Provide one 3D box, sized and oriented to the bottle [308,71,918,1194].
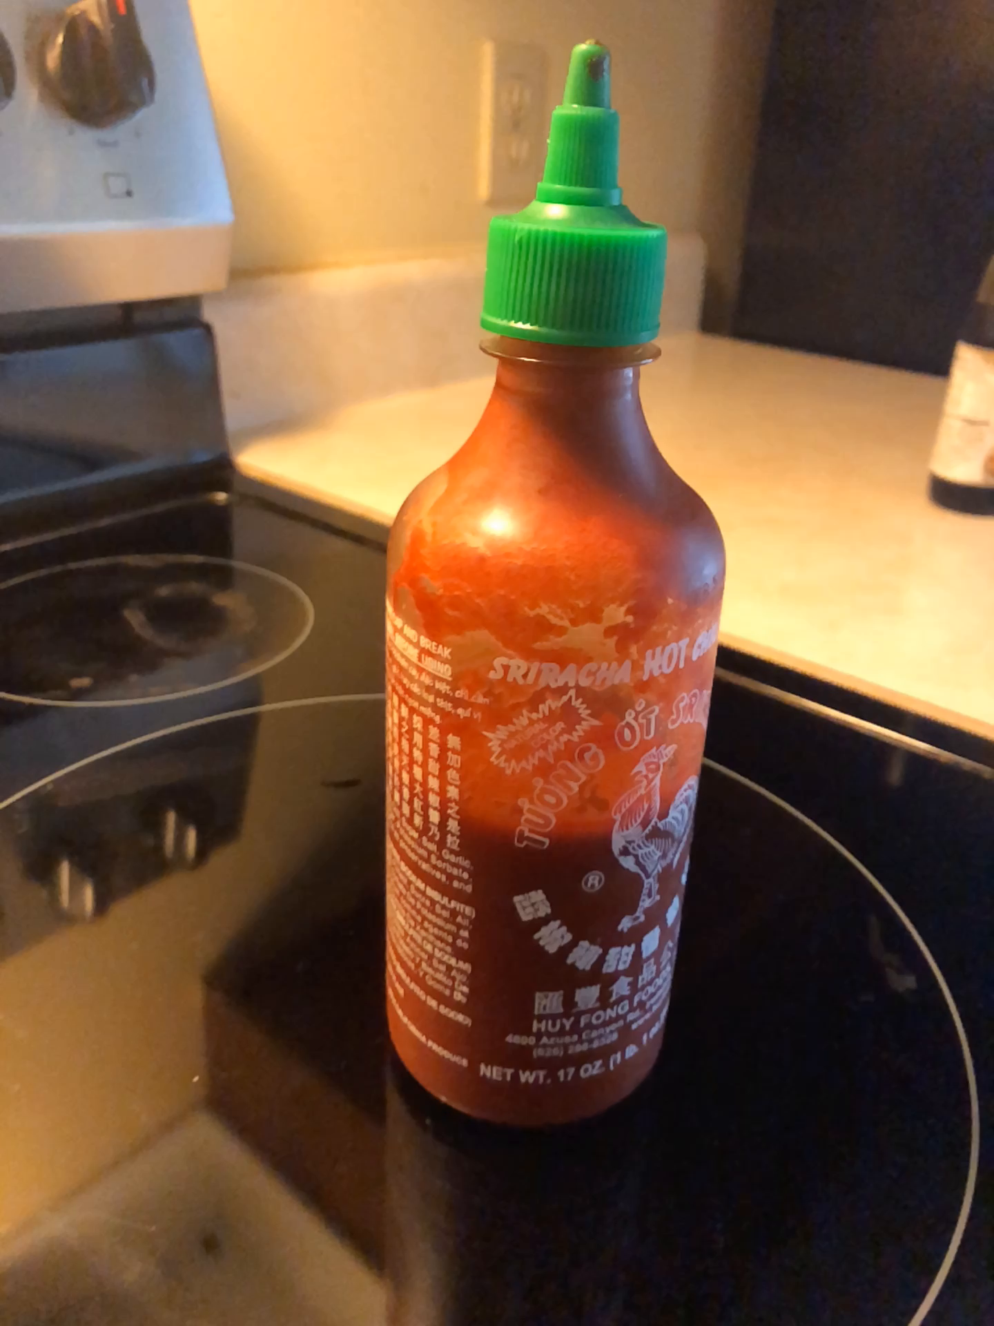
[{"bbox_3d":[0.015,-0.005,0.224,0.070,0.199,0.070,2,26,-1],"label":"bottle"}]
